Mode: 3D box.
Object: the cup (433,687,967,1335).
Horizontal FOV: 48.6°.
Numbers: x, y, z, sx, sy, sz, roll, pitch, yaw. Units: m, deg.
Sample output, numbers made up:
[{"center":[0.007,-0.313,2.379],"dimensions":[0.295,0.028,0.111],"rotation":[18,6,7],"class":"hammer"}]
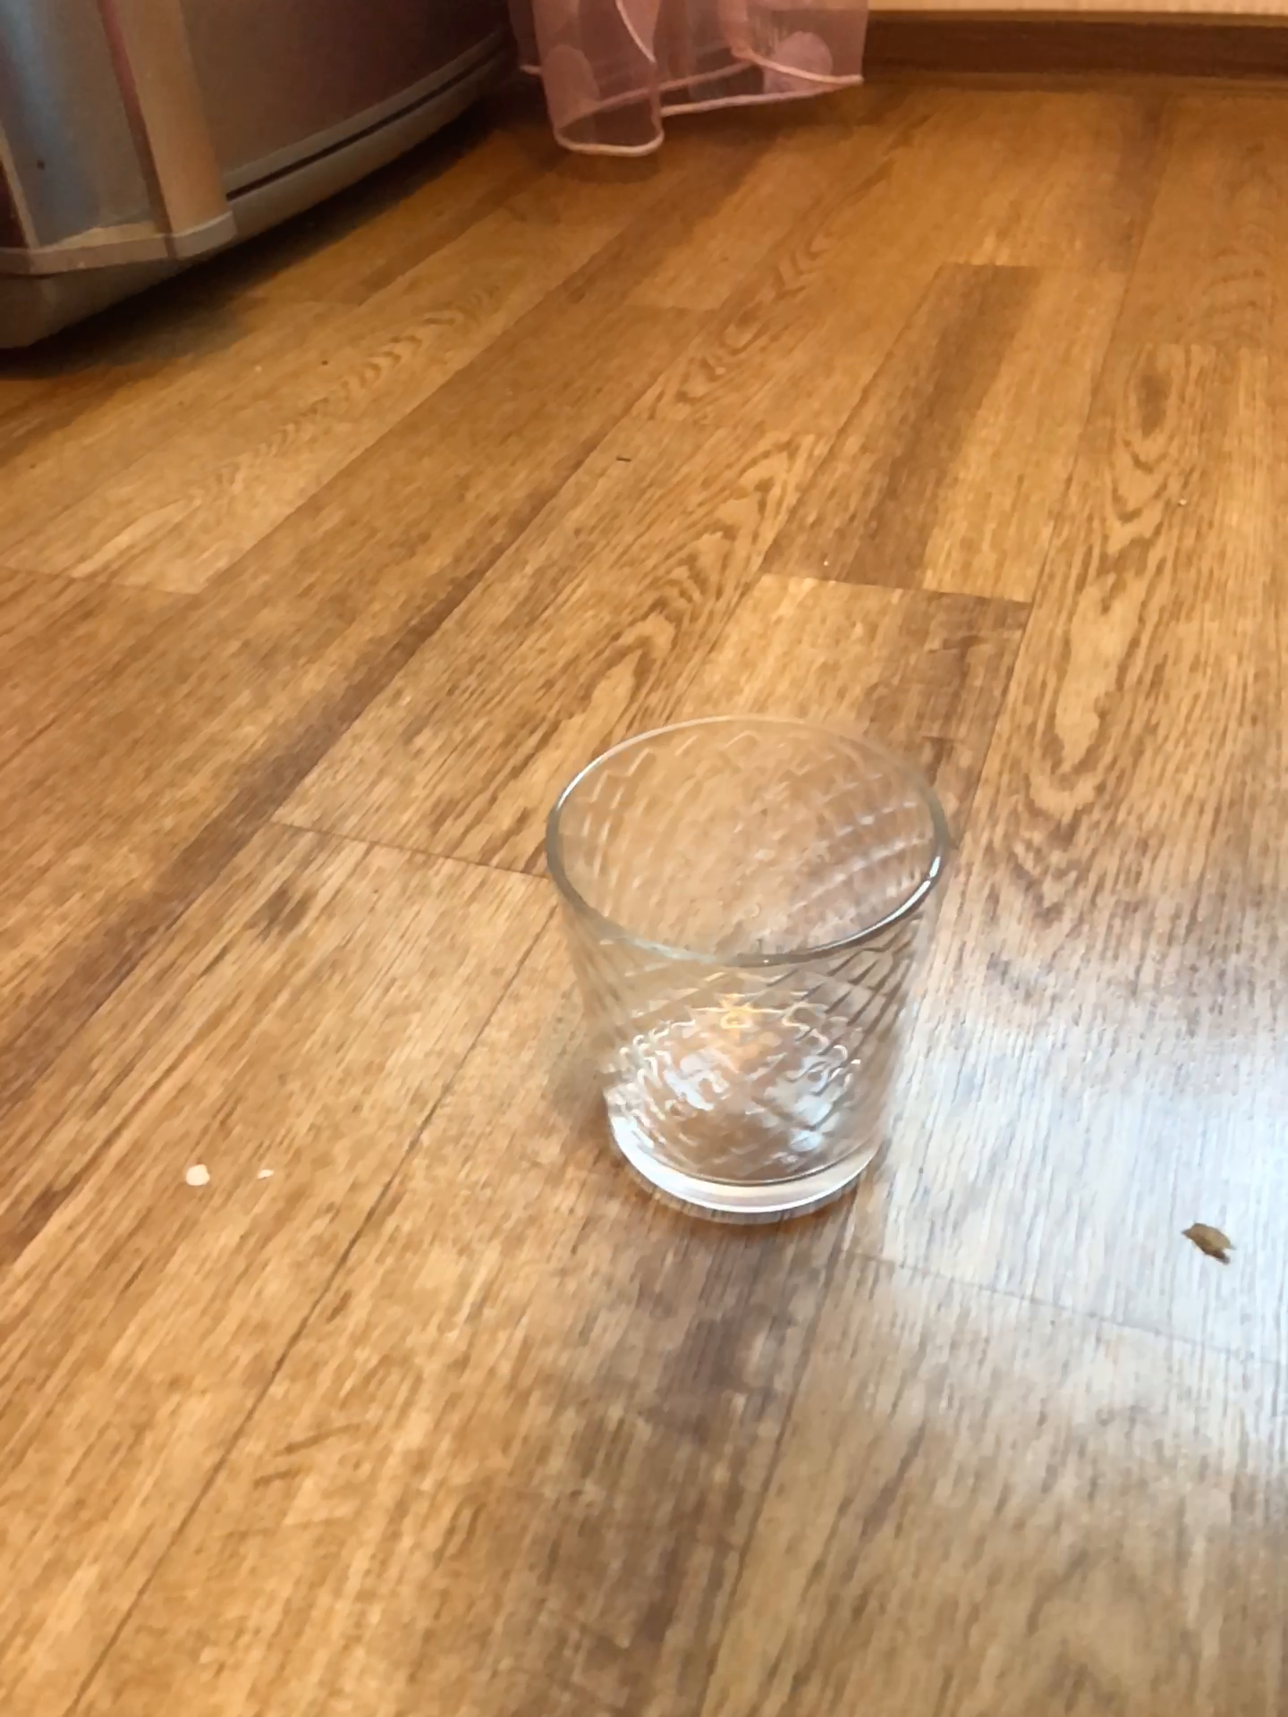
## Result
[{"center":[0.016,0.029,0.297],"dimensions":[0.080,0.090,0.080],"rotation":[-2,39,2],"class":"cup"}]
